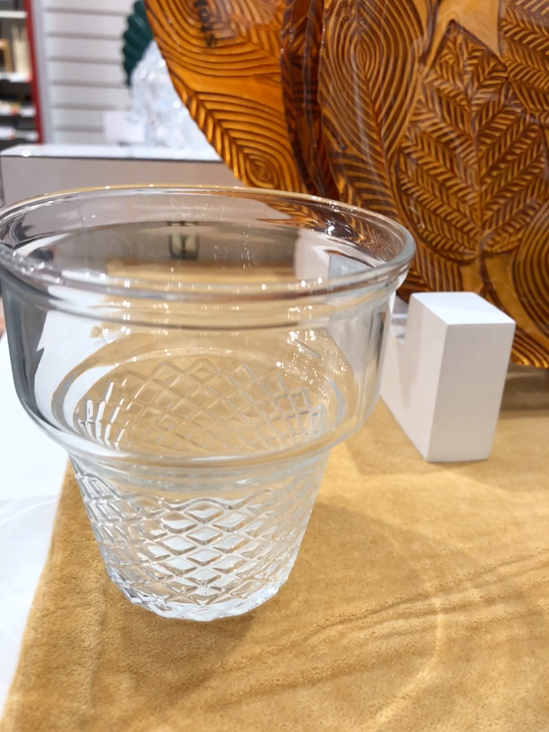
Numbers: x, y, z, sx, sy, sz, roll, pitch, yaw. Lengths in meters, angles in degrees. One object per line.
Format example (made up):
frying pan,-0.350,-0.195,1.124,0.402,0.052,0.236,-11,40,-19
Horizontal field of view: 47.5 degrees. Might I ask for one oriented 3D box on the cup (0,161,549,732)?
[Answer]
cup,0.000,0.004,0.111,0.080,0.070,0.080,2,23,-1
